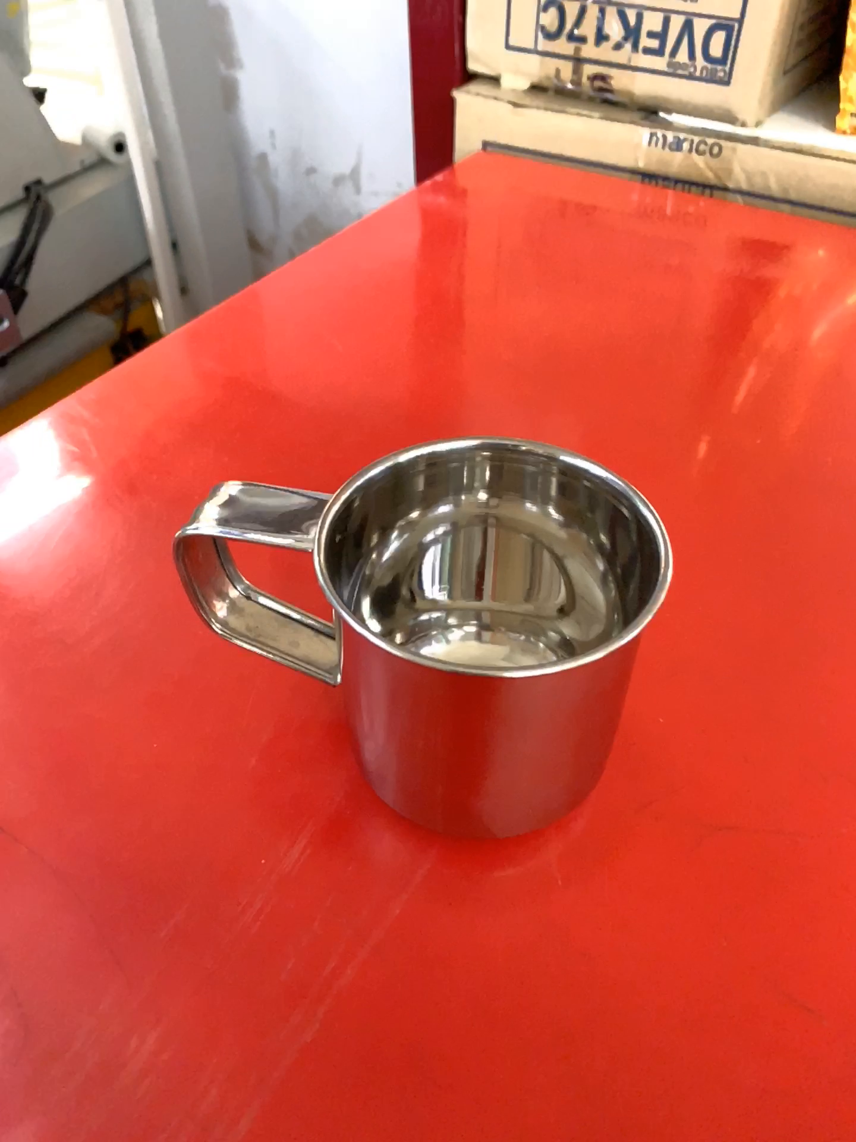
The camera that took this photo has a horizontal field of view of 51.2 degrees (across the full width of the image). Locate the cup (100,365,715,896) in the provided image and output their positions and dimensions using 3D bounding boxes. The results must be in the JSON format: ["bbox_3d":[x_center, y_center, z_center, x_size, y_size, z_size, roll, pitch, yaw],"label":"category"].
[{"bbox_3d":[0.001,0.008,0.210,0.109,0.065,0.080,12,45,14],"label":"cup"}]
